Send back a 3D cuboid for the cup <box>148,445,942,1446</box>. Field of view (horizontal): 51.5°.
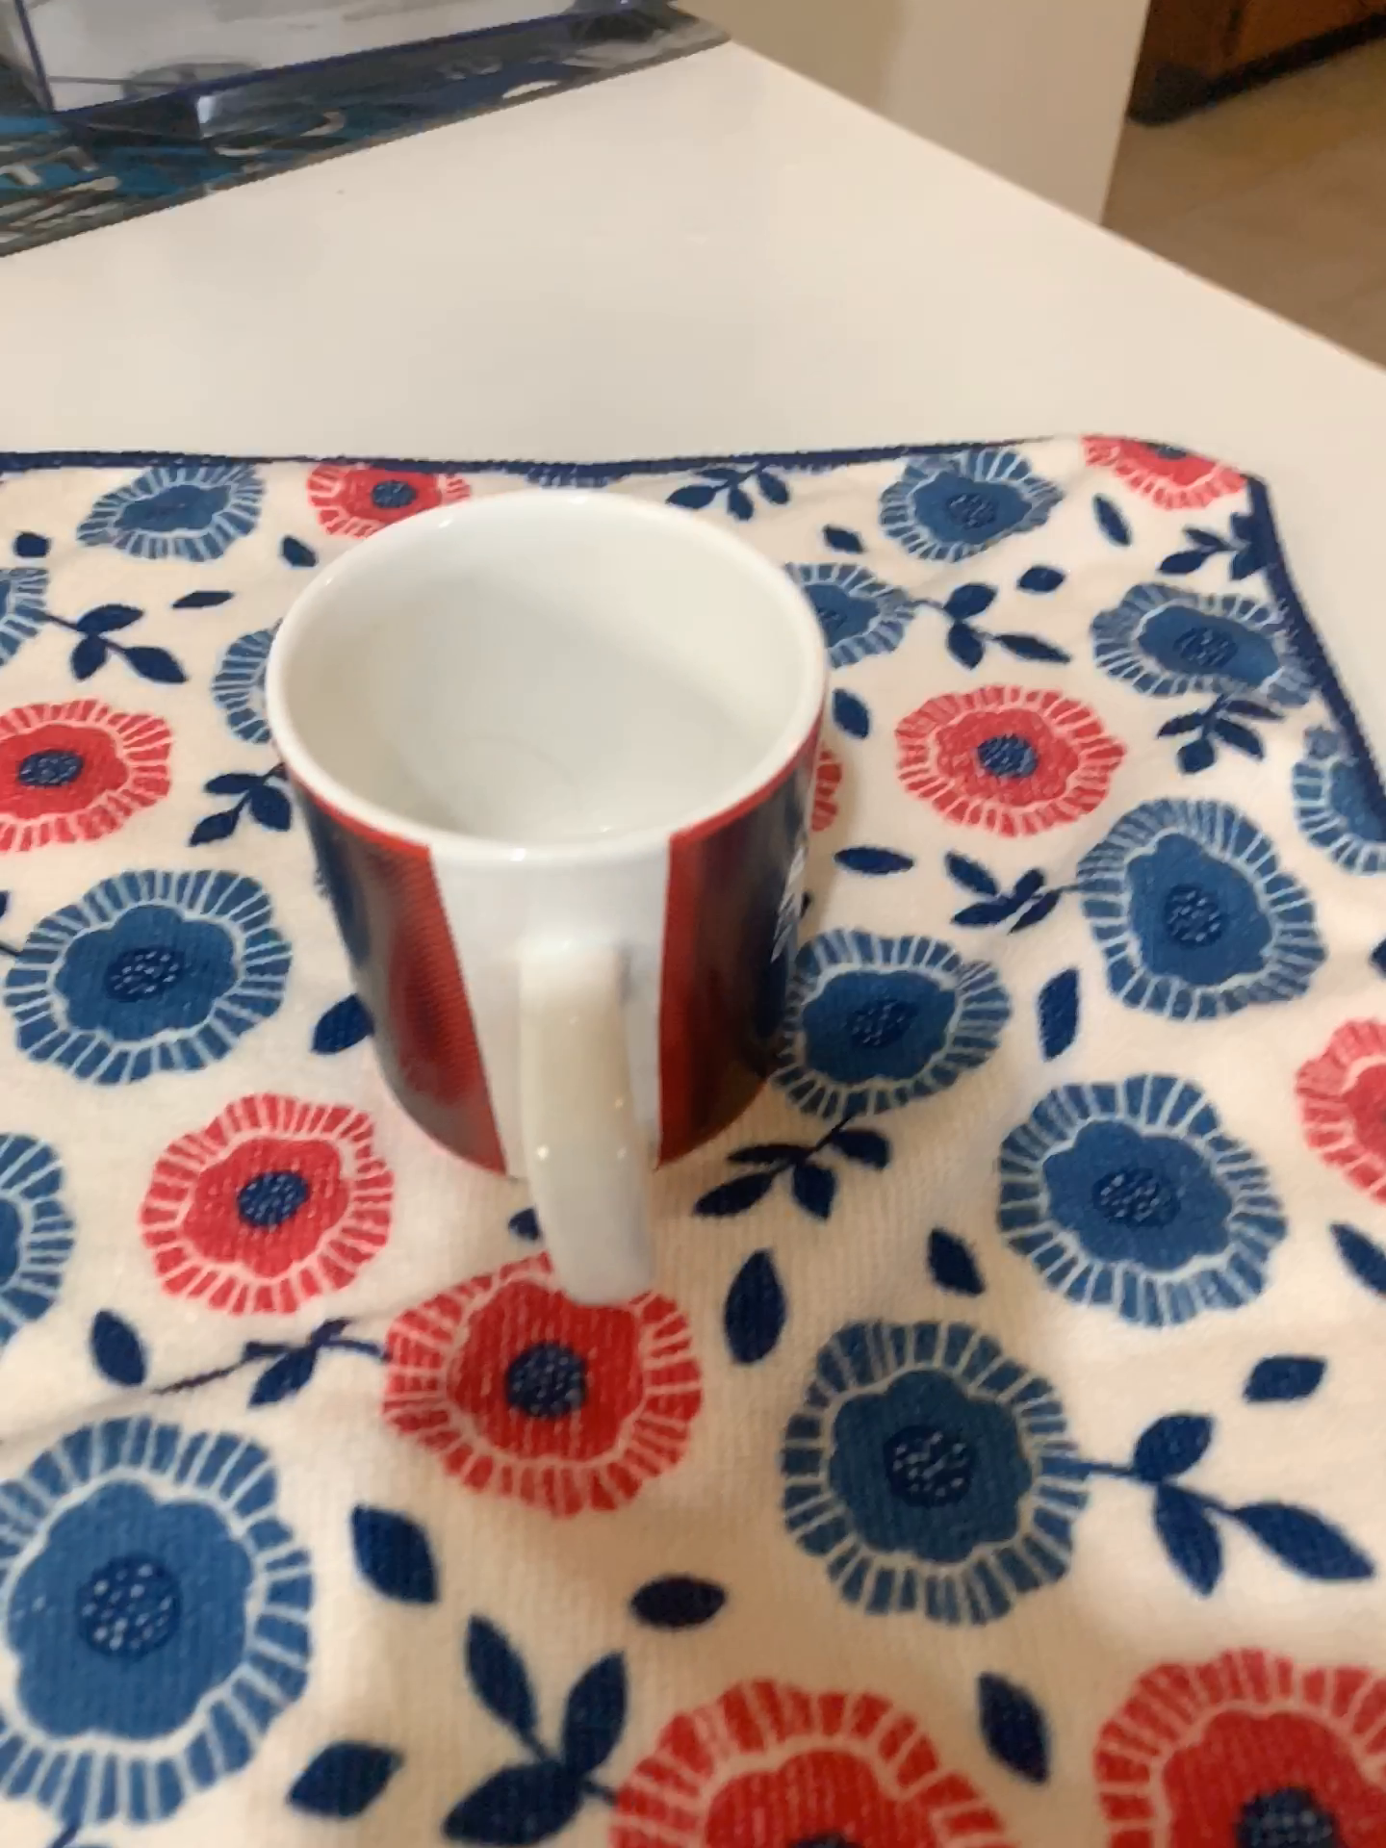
[{"bbox_3d":[-0.022,0.001,0.215,0.080,0.089,0.111,-6,50,-5],"label":"cup"}]
